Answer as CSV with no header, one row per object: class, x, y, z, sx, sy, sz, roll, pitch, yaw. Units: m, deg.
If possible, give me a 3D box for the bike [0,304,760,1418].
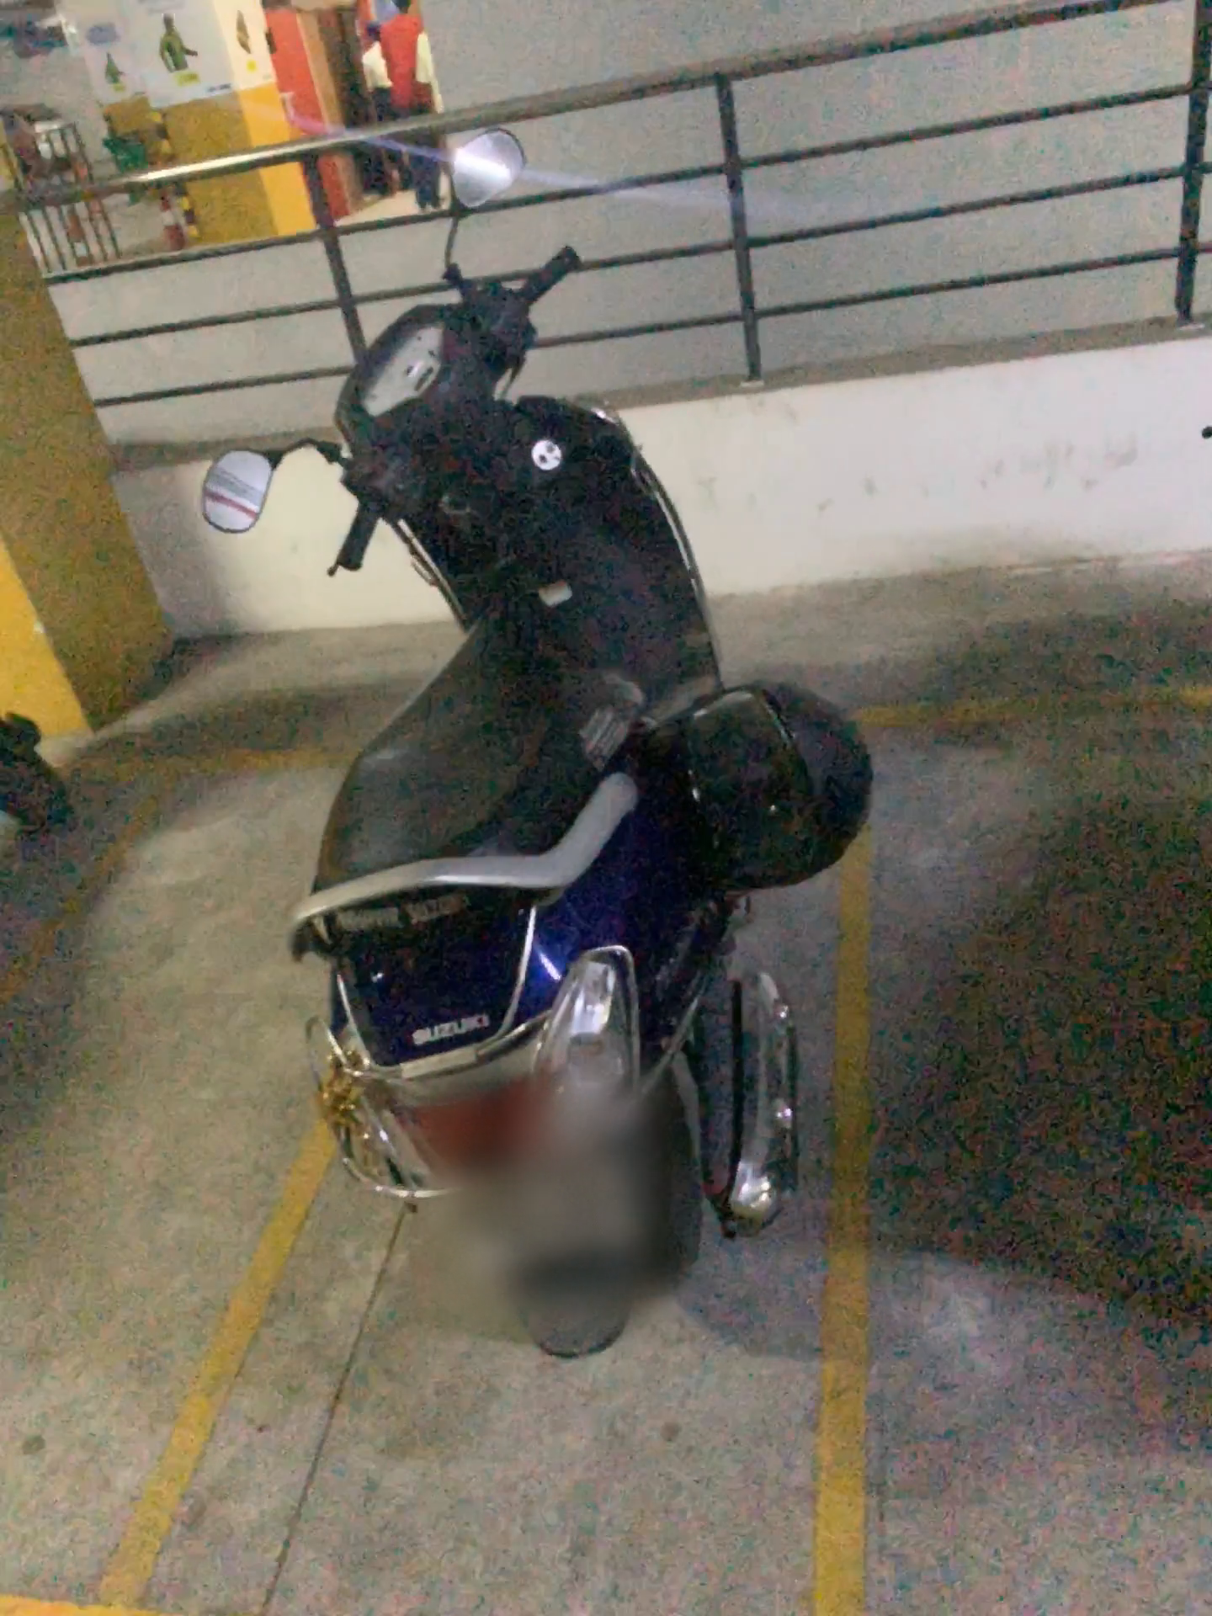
bike,-0.229,-0.056,1.986,0.622,1.157,1.482,-10,30,4
